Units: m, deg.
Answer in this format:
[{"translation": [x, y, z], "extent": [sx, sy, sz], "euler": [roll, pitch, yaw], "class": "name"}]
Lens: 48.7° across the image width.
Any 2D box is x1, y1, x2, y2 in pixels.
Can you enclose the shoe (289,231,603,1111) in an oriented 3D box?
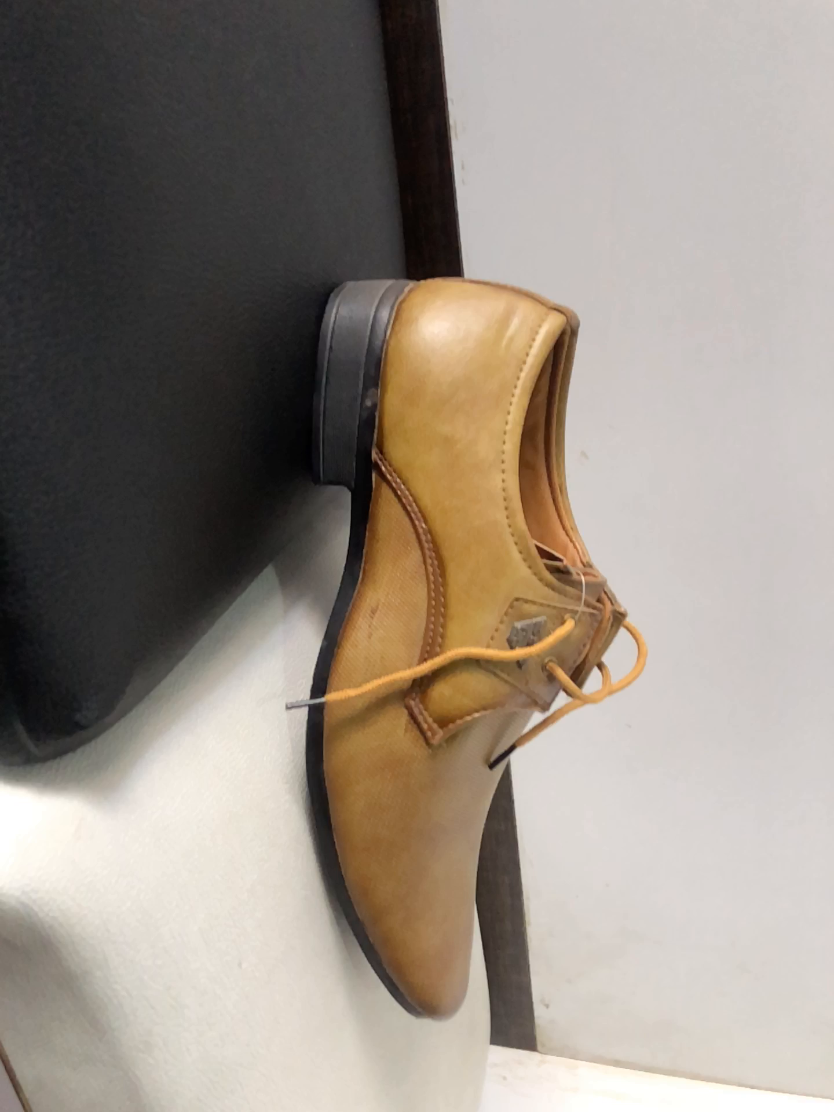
[{"translation": [0.020, 0.039, 0.355], "extent": [0.101, 0.090, 0.290], "euler": [-24, 114, -71], "class": "shoe"}]
